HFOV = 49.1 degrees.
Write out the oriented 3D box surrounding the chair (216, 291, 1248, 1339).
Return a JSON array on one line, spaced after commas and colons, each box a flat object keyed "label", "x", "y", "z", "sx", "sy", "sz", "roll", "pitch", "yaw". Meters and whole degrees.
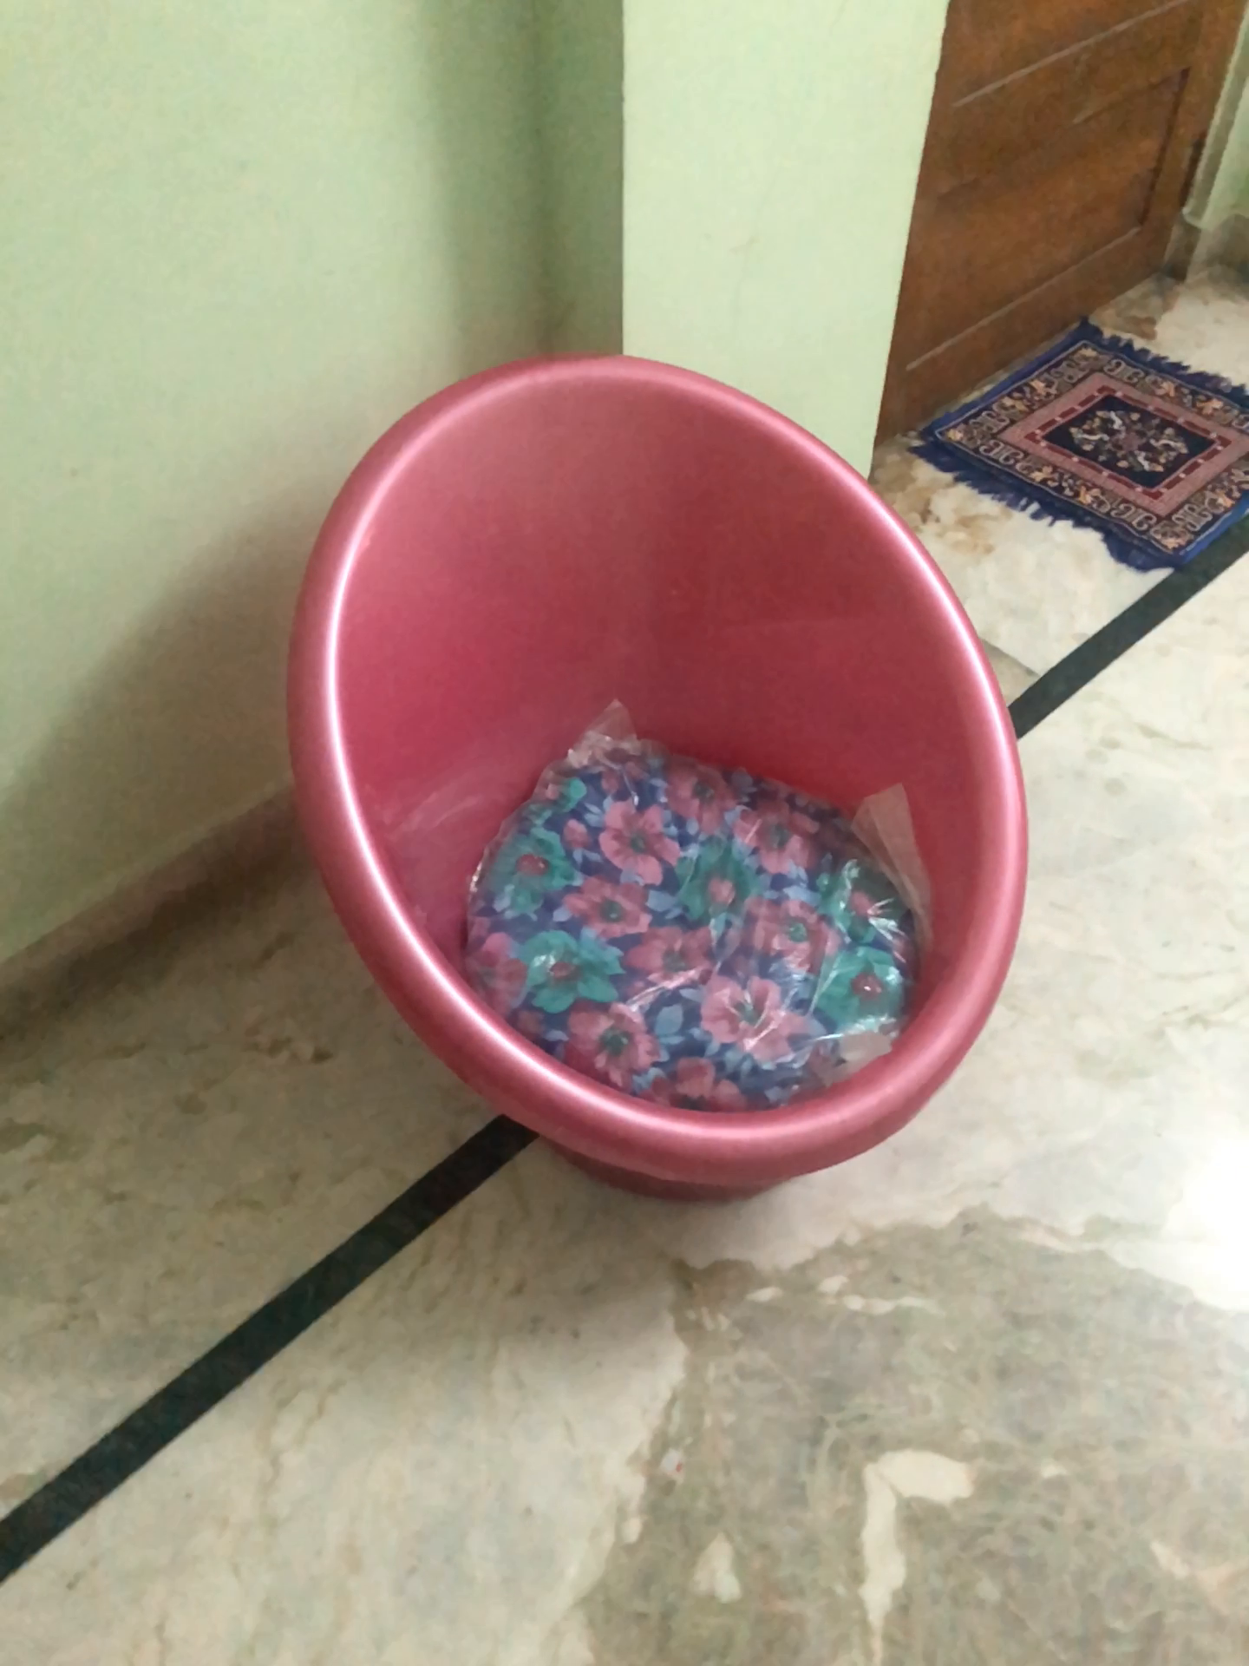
[{"label": "chair", "x": 0.041, "y": -0.040, "z": 1.280, "sx": 0.640, "sy": 0.547, "sz": 0.664, "roll": -13, "pitch": 51, "yaw": -11}]
